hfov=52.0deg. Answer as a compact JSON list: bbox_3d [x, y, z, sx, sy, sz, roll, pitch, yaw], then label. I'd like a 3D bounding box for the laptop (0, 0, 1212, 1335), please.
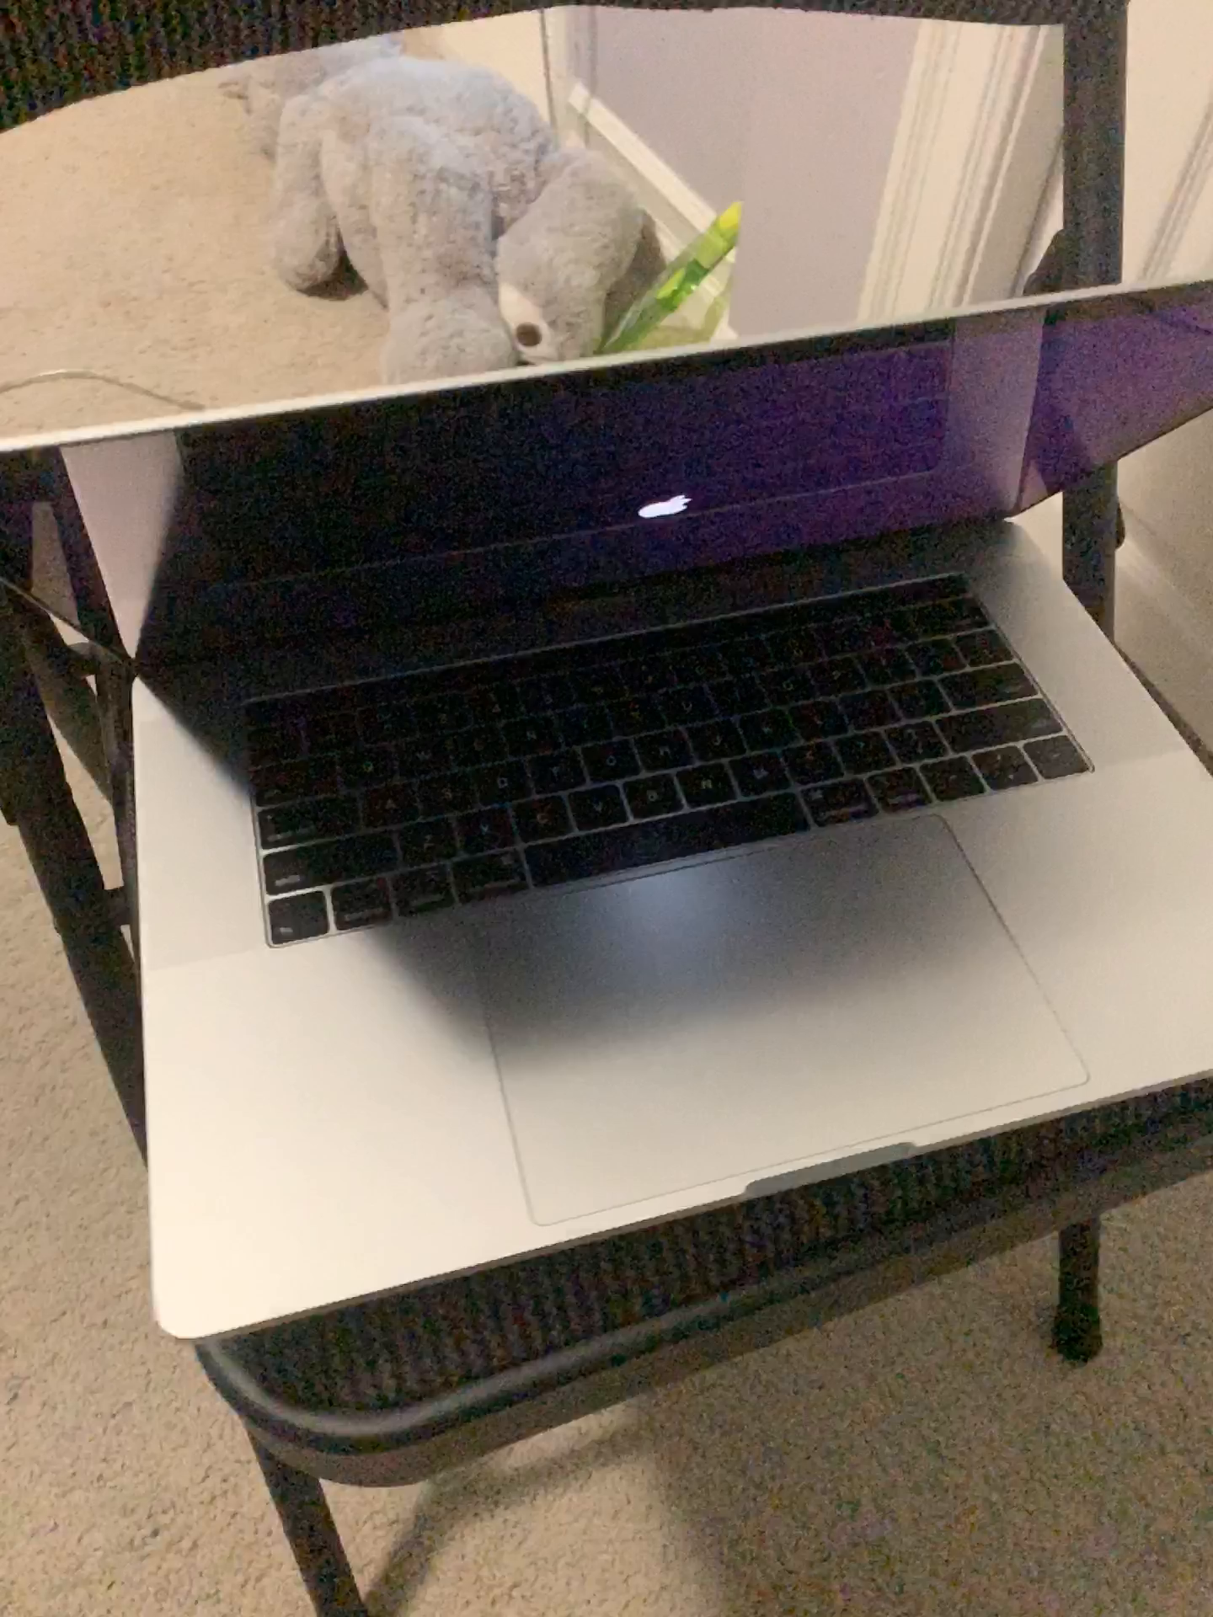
[{"bbox_3d":[0.026,-0.051,0.317,0.334,0.189,0.231,-12,53,-9],"label":"laptop"}]
